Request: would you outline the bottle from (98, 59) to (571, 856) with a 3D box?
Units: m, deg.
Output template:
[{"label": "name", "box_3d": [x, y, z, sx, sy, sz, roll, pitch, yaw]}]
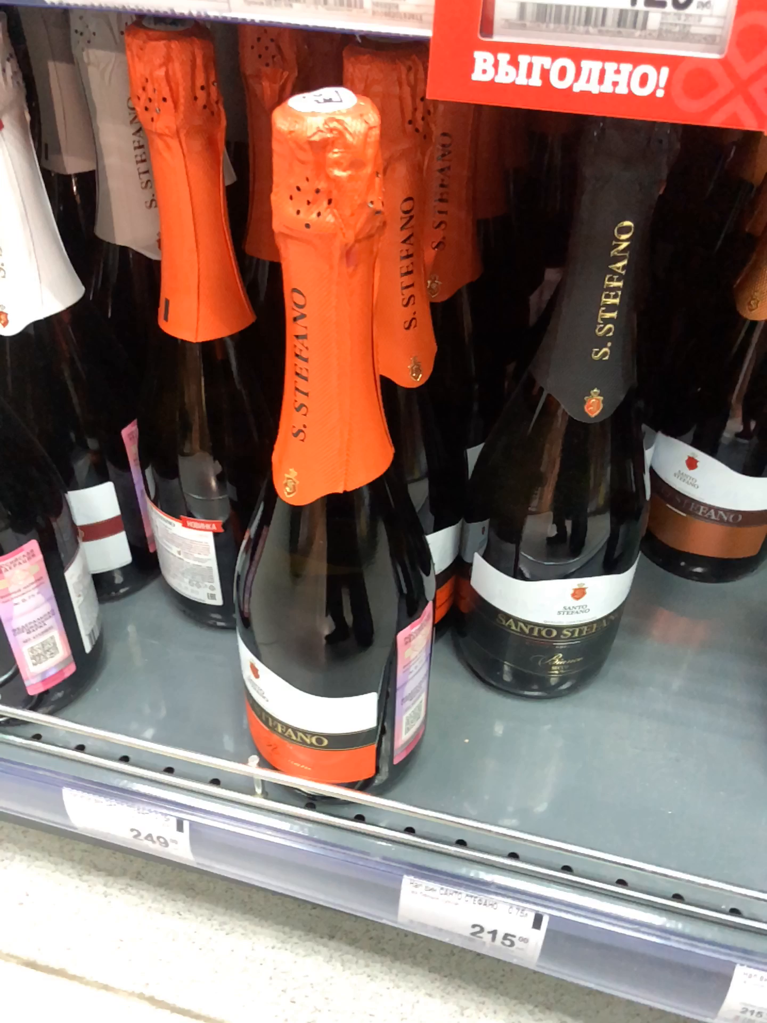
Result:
[{"label": "bottle", "box_3d": [-0.018, -0.003, 0.346, 0.100, 0.298, 0.100, 1, 40, -1]}]
